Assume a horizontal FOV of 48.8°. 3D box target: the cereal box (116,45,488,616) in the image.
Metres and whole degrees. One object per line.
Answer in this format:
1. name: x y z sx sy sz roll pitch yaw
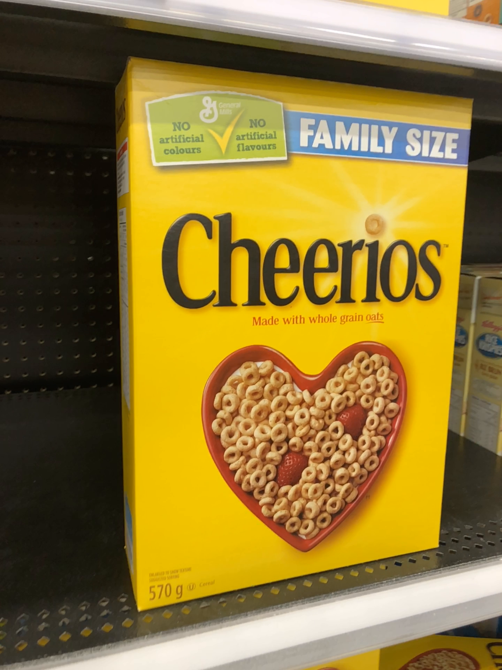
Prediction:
1. cereal box: 0.029 0.000 0.409 0.240 0.339 0.090 -2 11 -22
